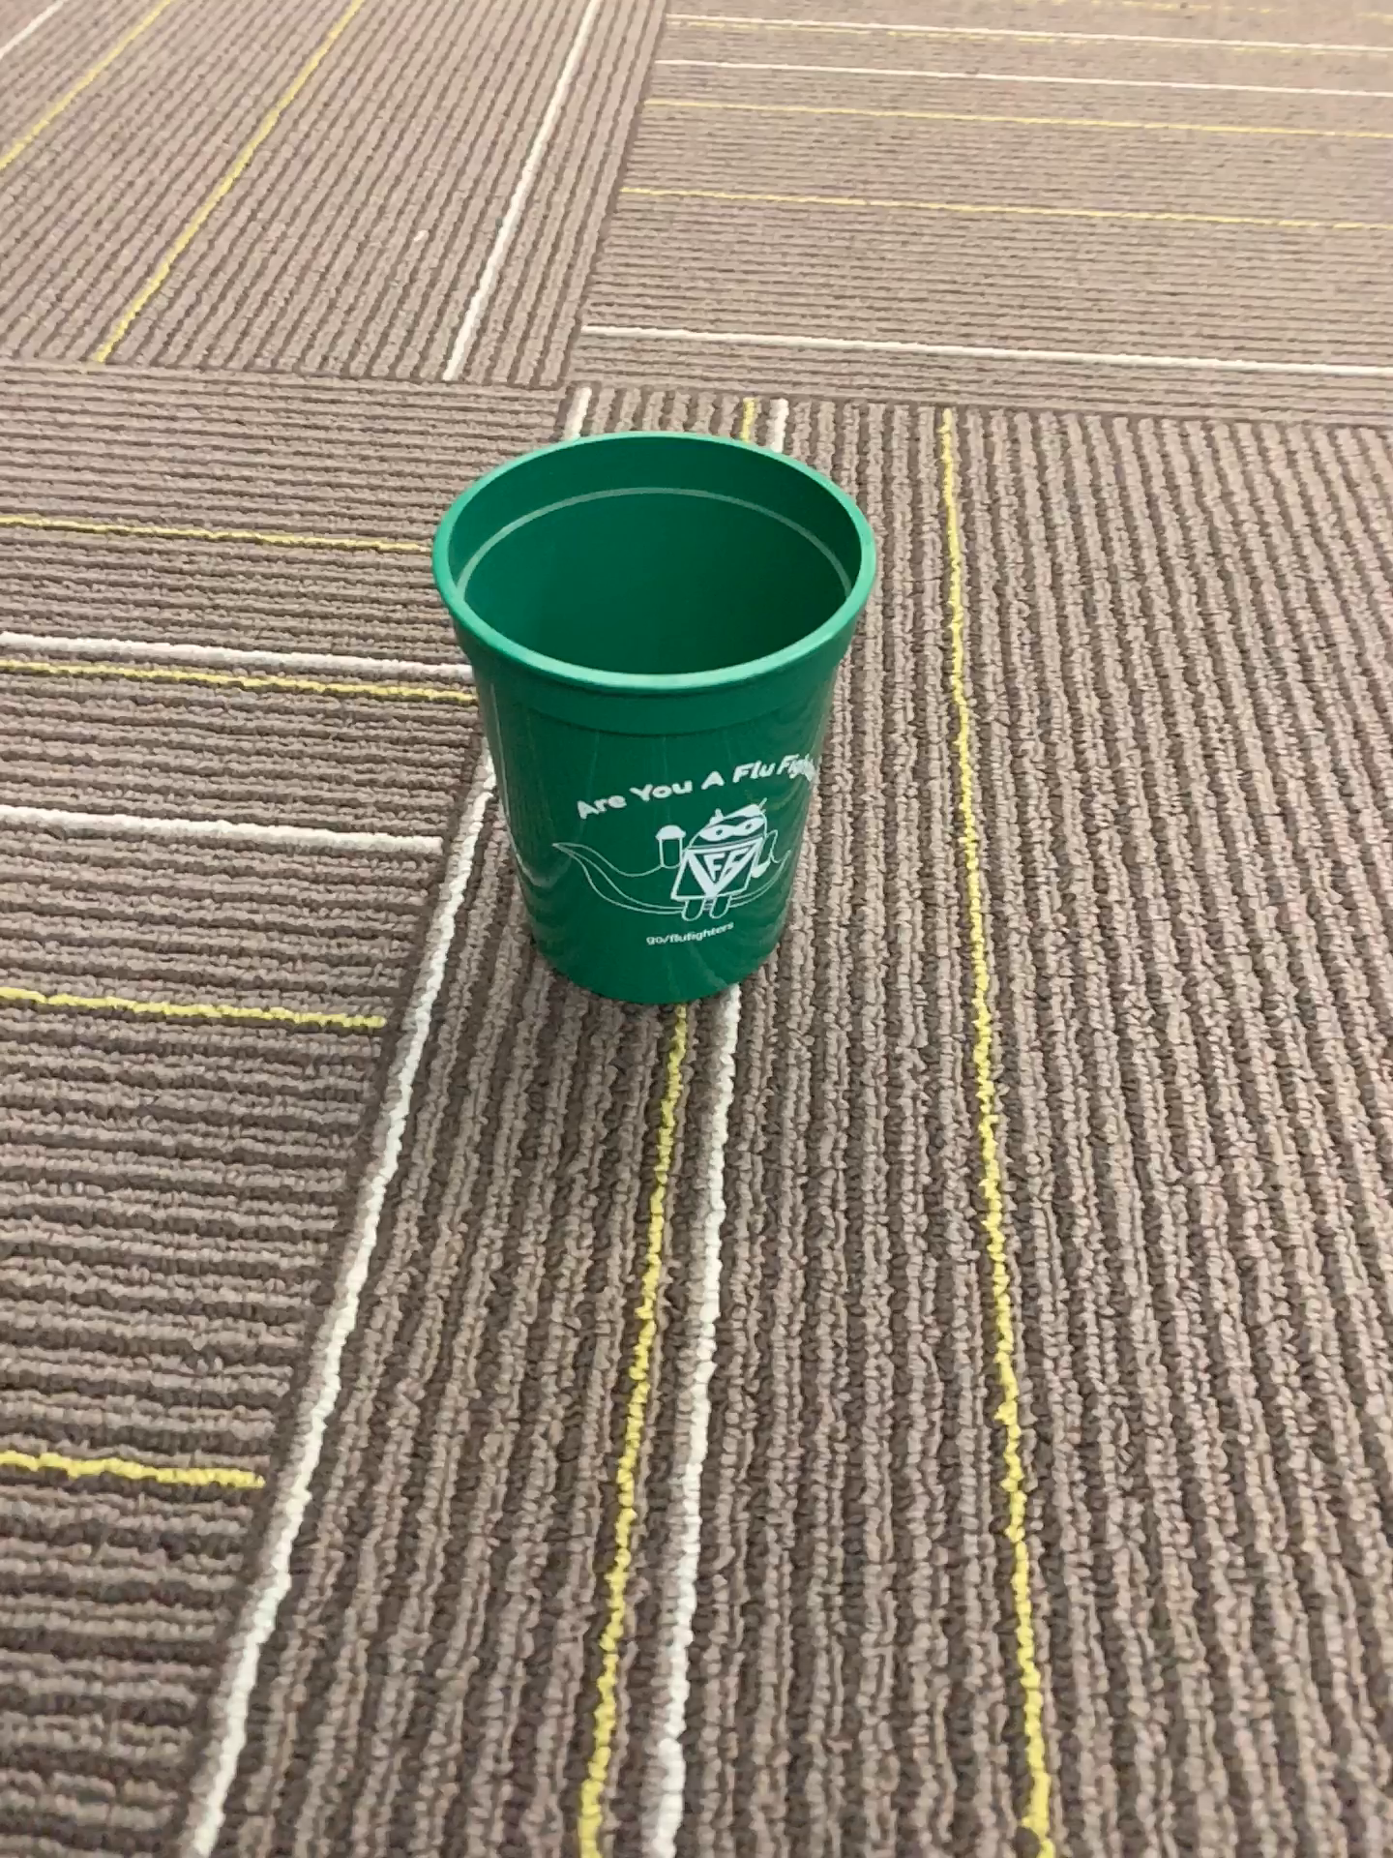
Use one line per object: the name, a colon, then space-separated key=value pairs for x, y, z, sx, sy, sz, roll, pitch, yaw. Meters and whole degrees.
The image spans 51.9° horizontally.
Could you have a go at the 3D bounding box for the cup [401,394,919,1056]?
cup: x=-0.011 y=-0.046 z=0.342 sx=0.090 sy=0.119 sz=0.080 roll=-12 pitch=49 yaw=-11
